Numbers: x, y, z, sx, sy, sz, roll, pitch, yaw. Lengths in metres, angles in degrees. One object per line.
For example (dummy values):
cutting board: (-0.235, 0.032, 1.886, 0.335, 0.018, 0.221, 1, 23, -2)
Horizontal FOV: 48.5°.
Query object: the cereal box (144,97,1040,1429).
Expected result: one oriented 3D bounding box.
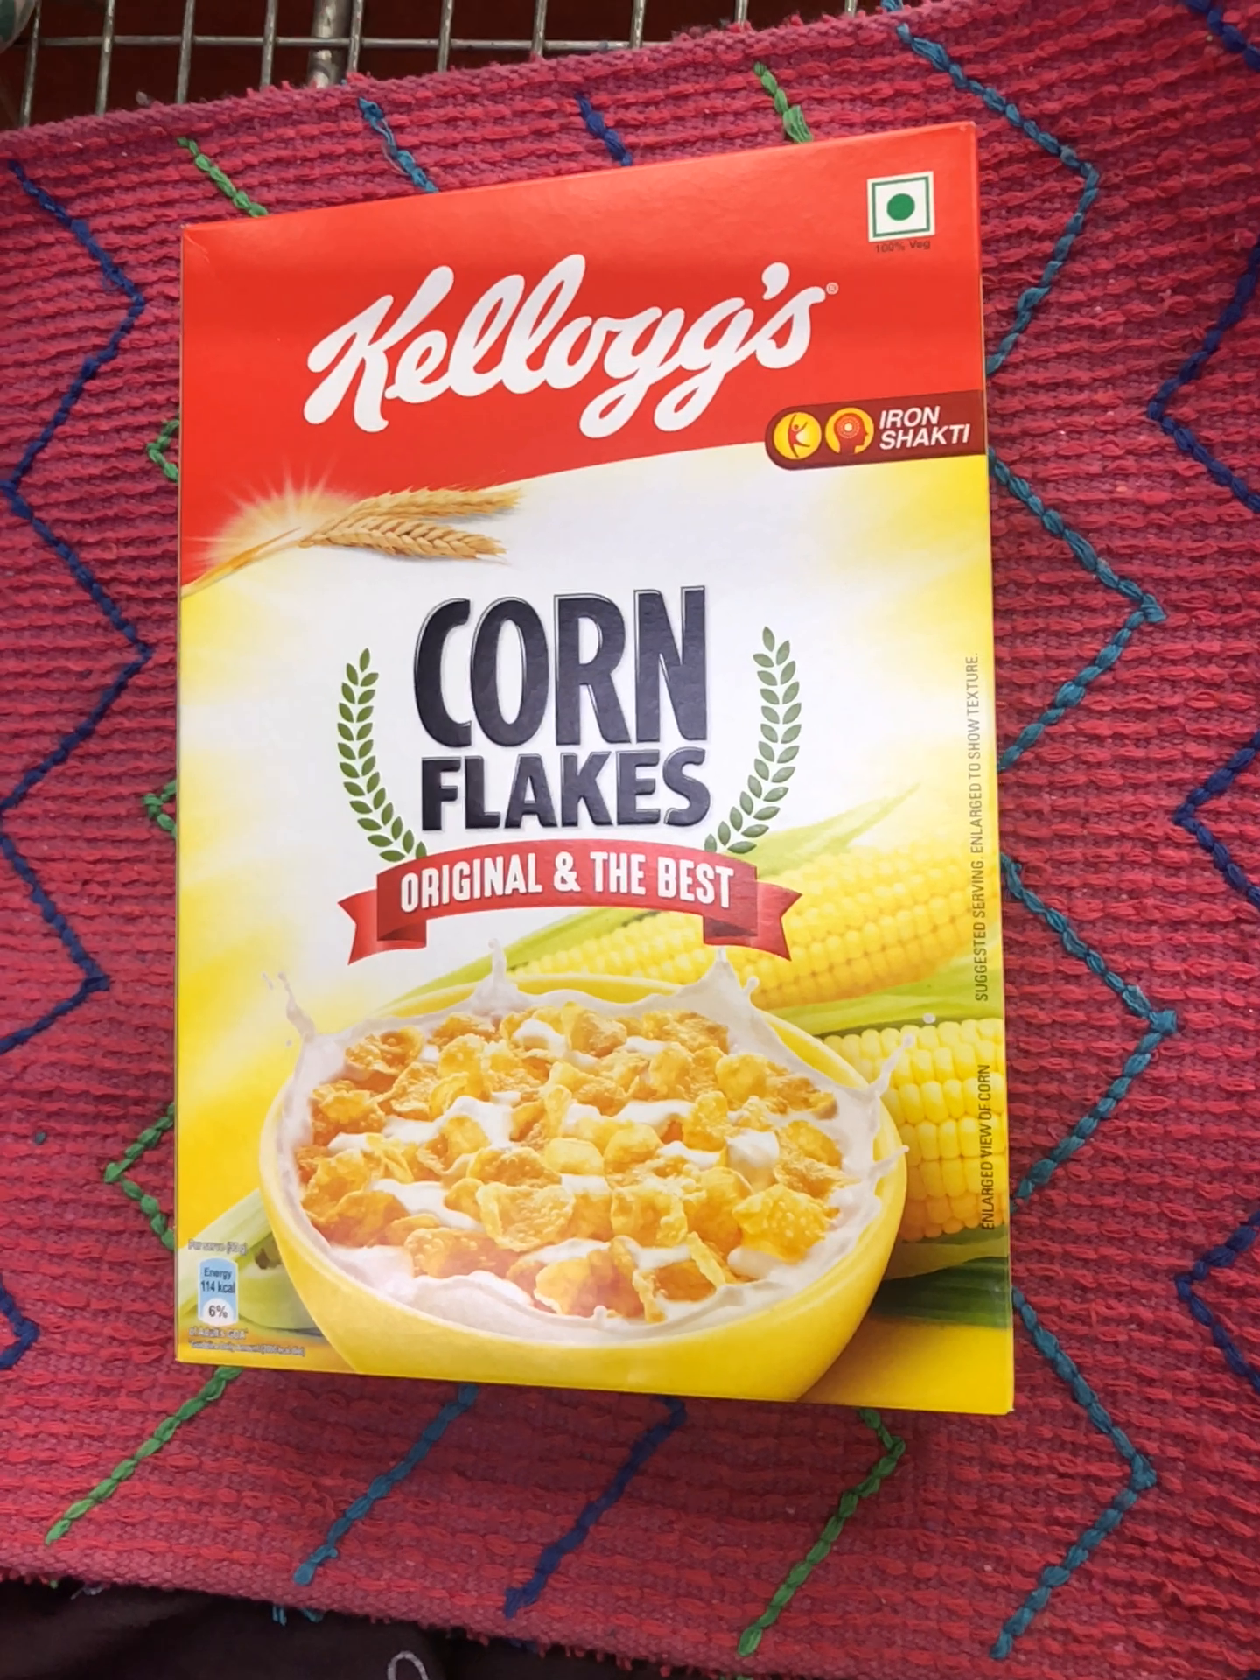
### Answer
cereal box: (-0.009, -0.014, 0.328, 0.190, 0.070, 0.260, -2, 87, 13)
